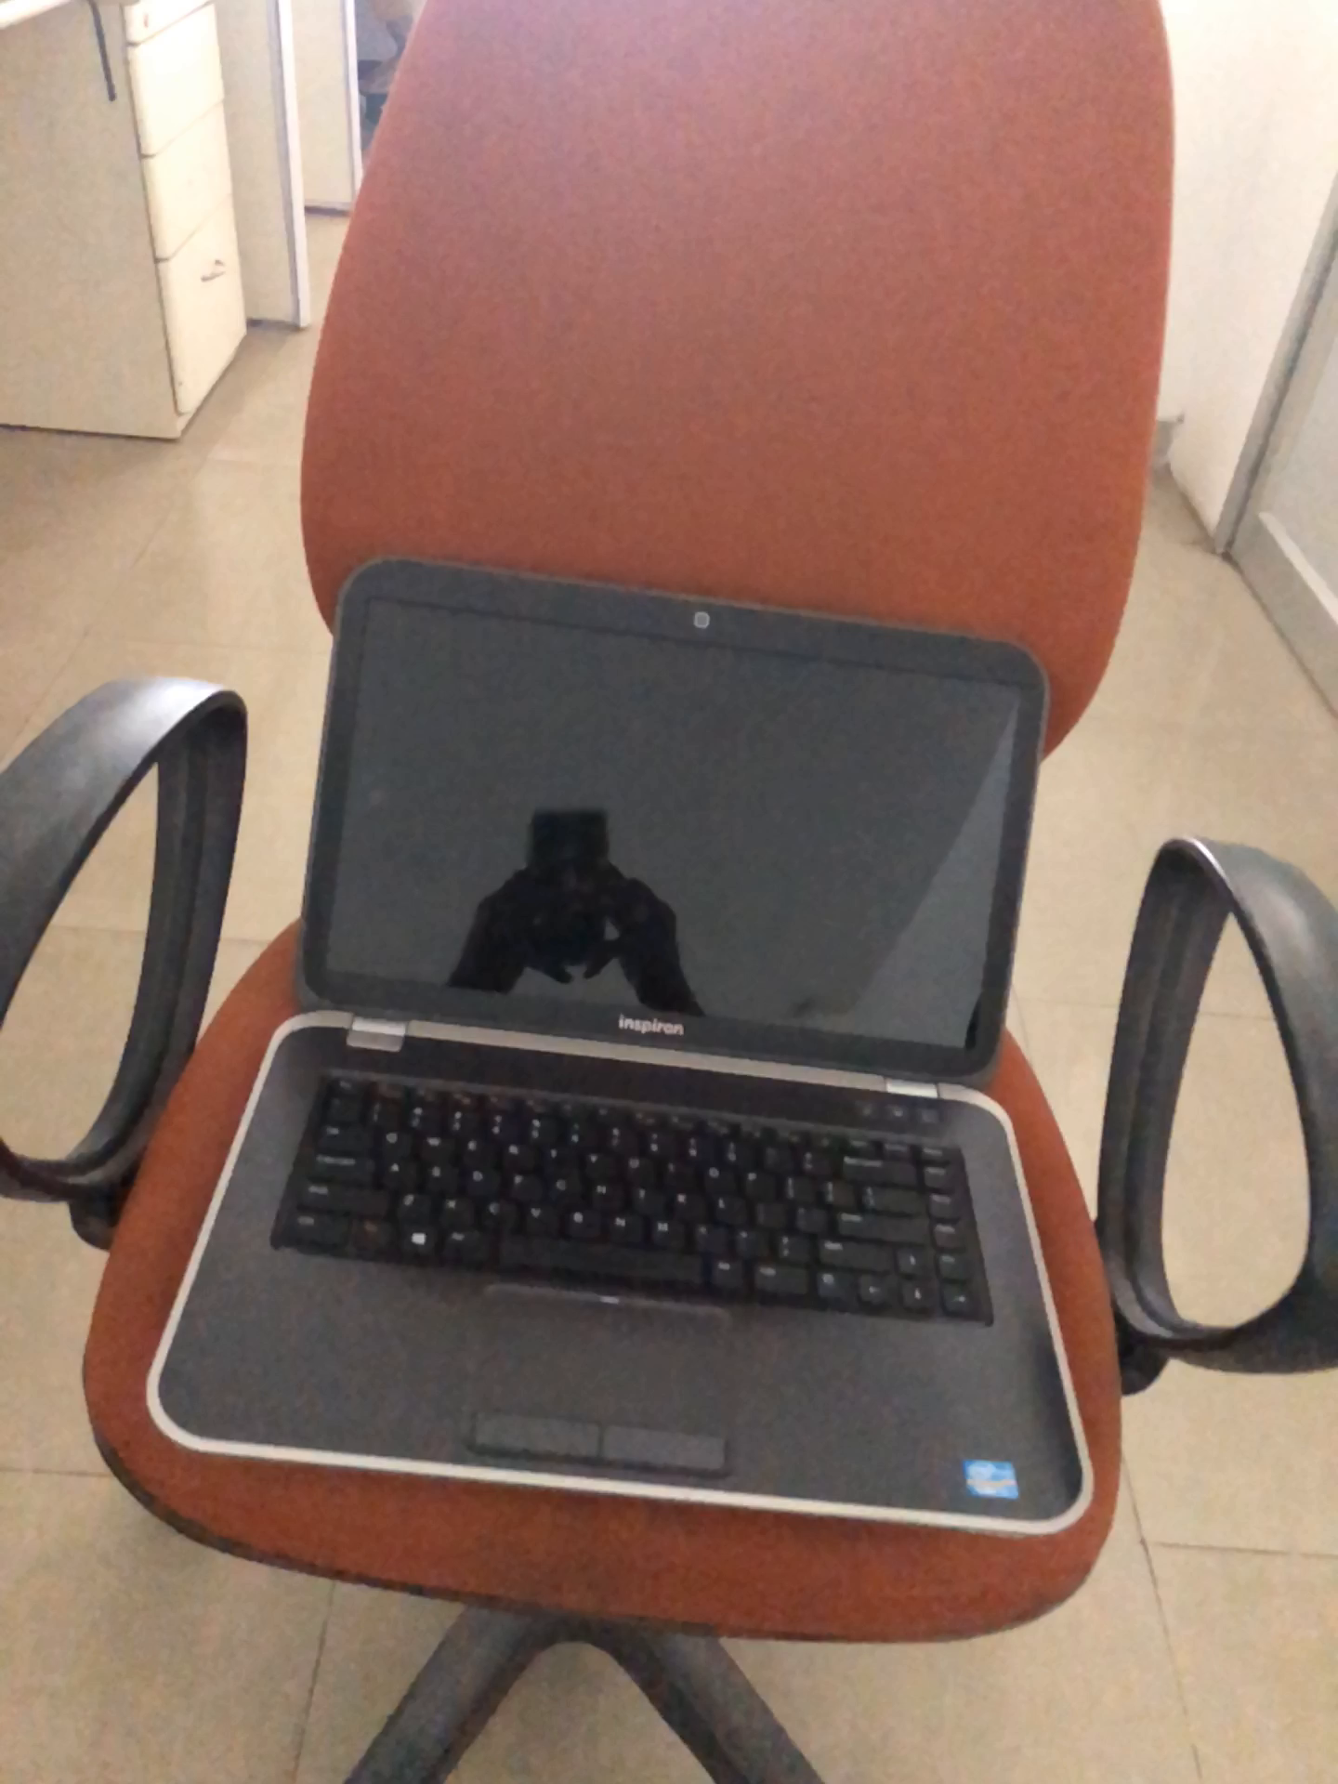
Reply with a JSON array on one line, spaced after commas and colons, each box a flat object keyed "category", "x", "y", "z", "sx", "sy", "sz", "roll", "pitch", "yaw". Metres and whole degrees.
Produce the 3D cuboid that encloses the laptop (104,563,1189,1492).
[{"category": "laptop", "x": -0.007, "y": 0.034, "z": 0.662, "sx": 0.352, "sy": 0.173, "sz": 0.353, "roll": 7, "pitch": 39, "yaw": 0}]
